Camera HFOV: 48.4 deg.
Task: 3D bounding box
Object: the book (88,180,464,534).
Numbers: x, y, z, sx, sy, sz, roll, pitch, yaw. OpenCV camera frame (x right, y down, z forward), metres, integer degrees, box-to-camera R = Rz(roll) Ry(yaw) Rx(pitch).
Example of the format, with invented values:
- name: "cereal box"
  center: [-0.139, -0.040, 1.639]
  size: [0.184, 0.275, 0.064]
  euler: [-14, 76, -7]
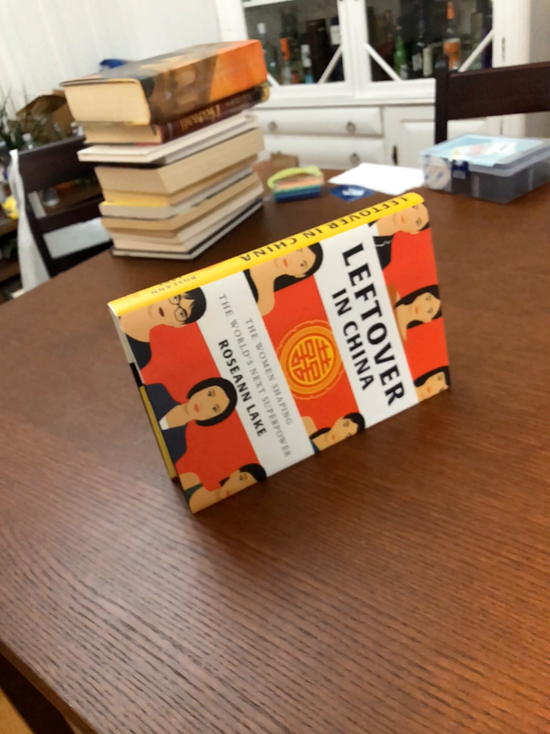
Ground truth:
- name: "book"
  center: [0.019, -0.012, 0.468]
  size: [0.260, 0.179, 0.060]
  euler: [-23, 33, -17]
